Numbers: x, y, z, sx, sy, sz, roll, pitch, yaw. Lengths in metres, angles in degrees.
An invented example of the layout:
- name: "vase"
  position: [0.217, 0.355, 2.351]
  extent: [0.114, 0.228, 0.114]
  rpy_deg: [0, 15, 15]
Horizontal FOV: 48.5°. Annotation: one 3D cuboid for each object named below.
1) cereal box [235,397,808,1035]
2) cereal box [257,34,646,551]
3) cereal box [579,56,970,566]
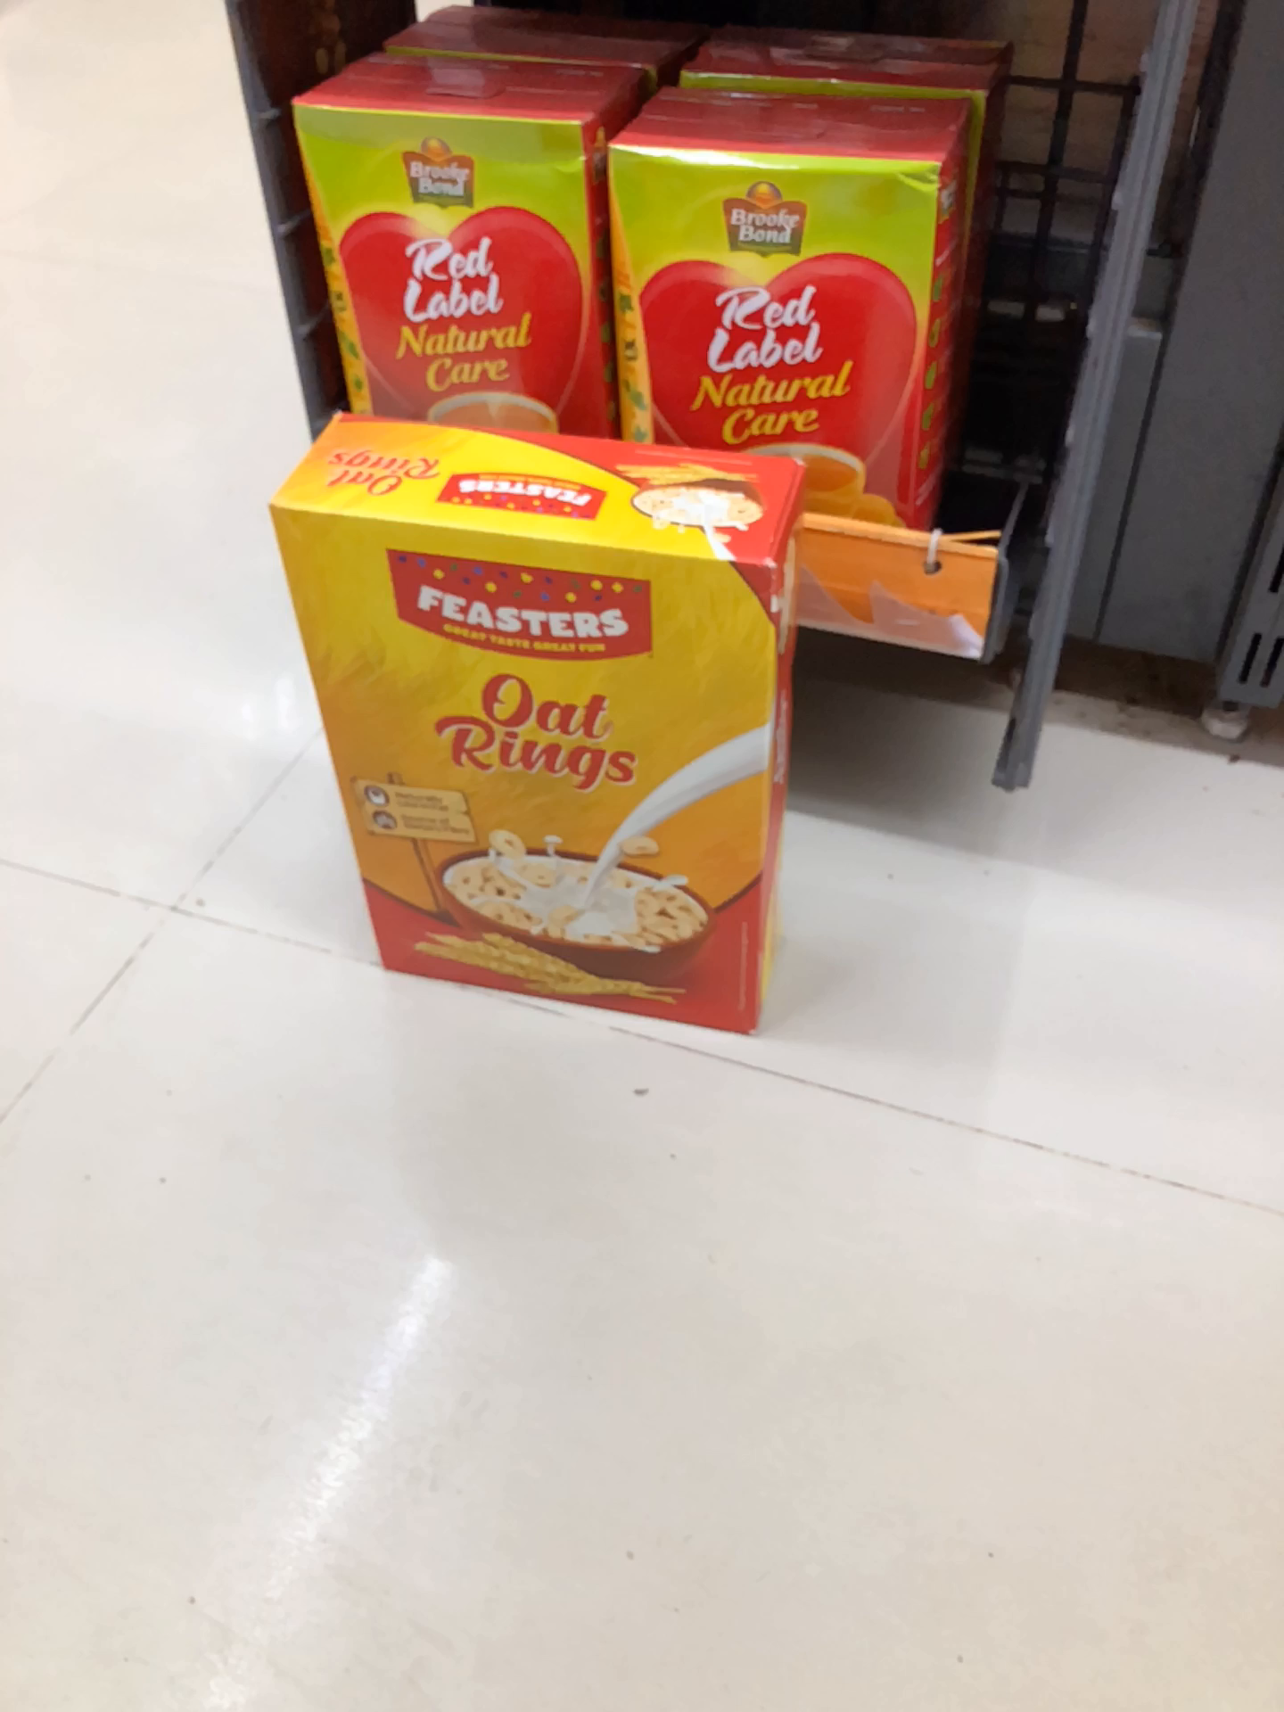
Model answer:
- name: "cereal box"
  position: [-0.035, -0.044, 0.531]
  extent: [0.170, 0.219, 0.070]
  rpy_deg: [9, 45, 10]
- name: "cereal box"
  position: [-0.068, -0.229, 0.587]
  extent: [0.120, 0.169, 0.081]
  rpy_deg: [12, 45, 13]
- name: "cereal box"
  position: [0.048, -0.200, 0.530]
  extent: [0.120, 0.149, 0.081]
  rpy_deg: [8, 45, 10]
